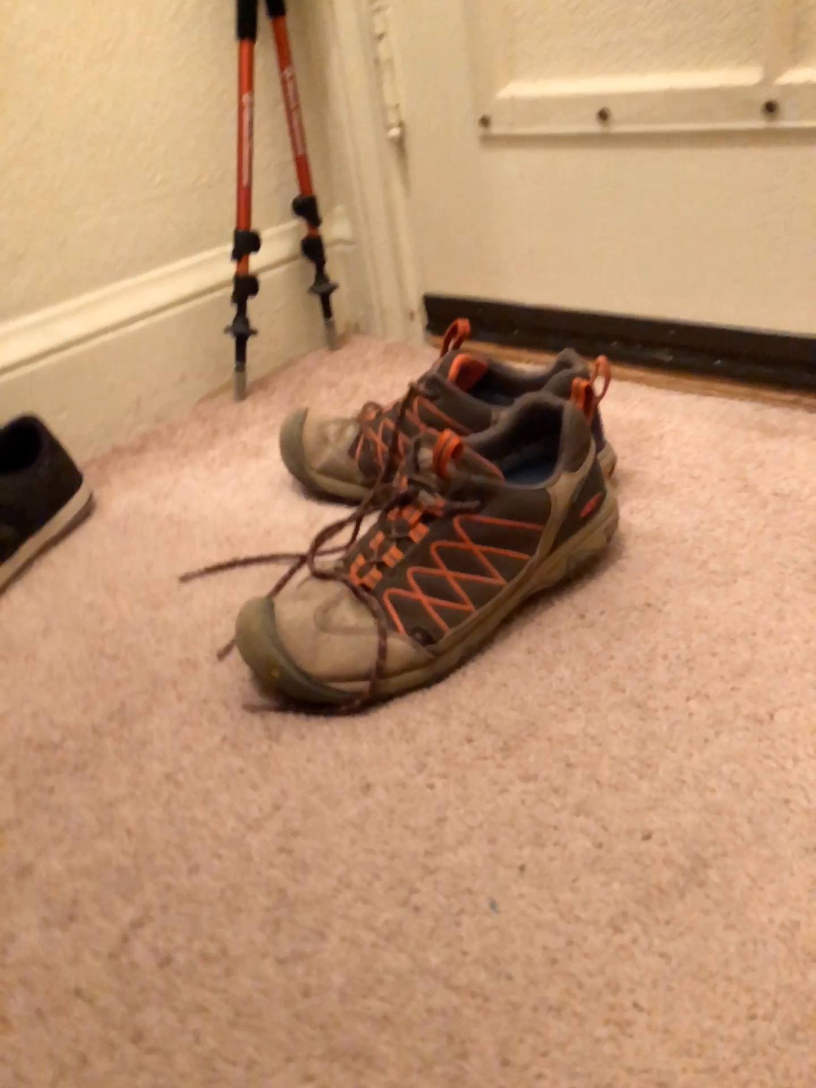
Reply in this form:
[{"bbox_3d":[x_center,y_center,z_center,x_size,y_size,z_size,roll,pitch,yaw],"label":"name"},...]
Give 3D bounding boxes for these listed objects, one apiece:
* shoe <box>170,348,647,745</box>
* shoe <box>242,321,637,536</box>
[{"bbox_3d":[0.010,-0.012,0.577,0.270,0.129,0.121,-23,34,-20],"label":"shoe"},{"bbox_3d":[0.034,-0.099,0.753,0.300,0.129,0.121,2,34,19],"label":"shoe"}]
